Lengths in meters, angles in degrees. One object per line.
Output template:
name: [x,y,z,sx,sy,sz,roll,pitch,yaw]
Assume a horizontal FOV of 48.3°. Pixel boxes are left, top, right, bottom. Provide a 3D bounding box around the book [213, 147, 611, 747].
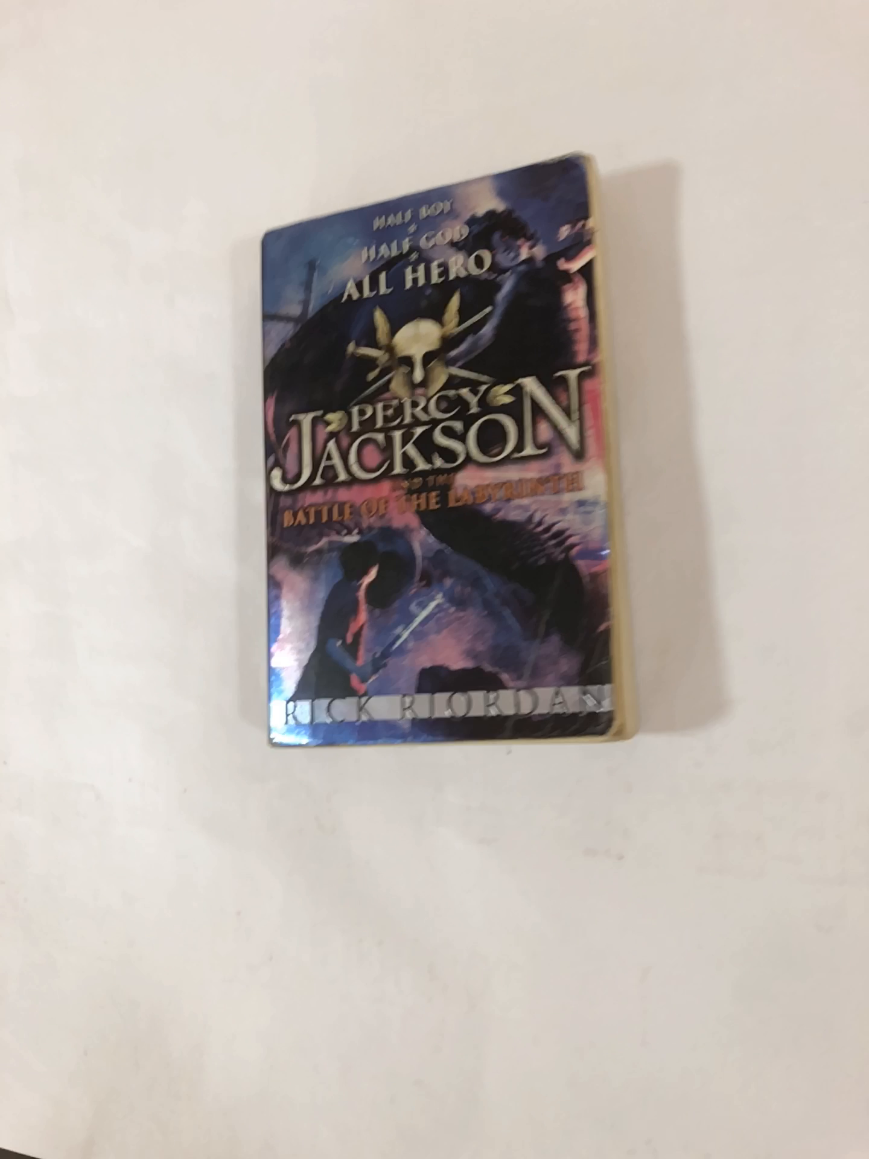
book: [-0.012,-0.039,0.344,0.130,0.040,0.190,-6,80,21]
